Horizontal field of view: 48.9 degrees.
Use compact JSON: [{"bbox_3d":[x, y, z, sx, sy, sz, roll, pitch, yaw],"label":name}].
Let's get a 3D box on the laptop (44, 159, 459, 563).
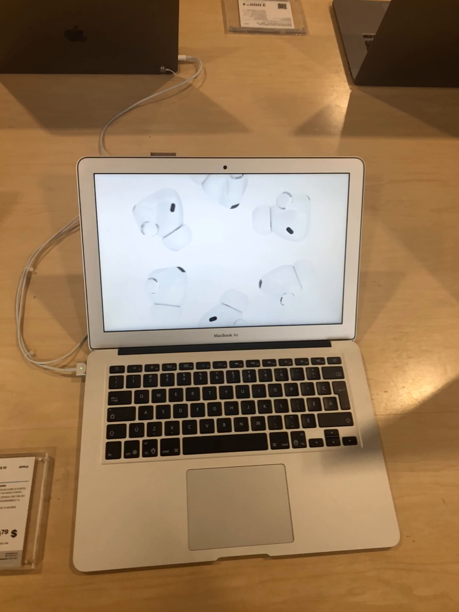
[{"bbox_3d":[0.003,0.038,0.513,0.302,0.137,0.371,-2,61,-6],"label":"laptop"}]
